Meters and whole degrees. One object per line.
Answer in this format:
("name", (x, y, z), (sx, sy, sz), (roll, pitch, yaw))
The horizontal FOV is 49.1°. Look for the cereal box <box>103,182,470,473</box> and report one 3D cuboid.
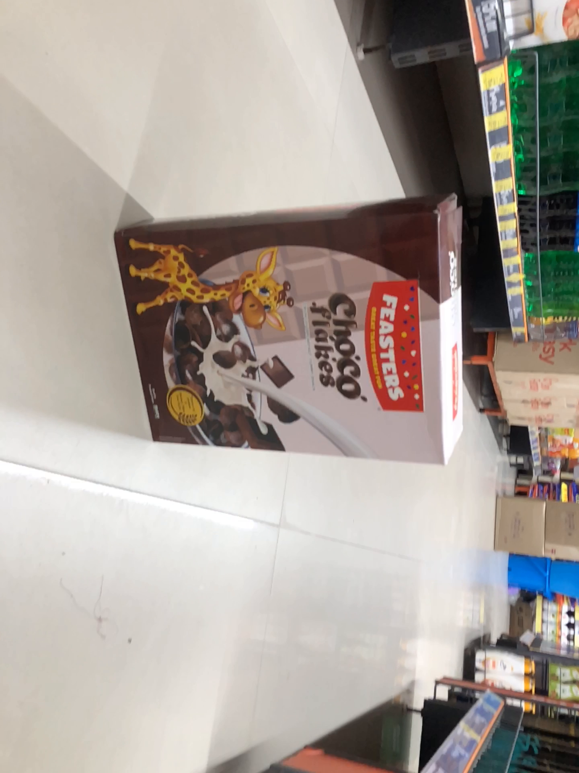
("cereal box", (-0.001, -0.042, 0.501), (0.050, 0.268, 0.200), (-43, 130, -61))
